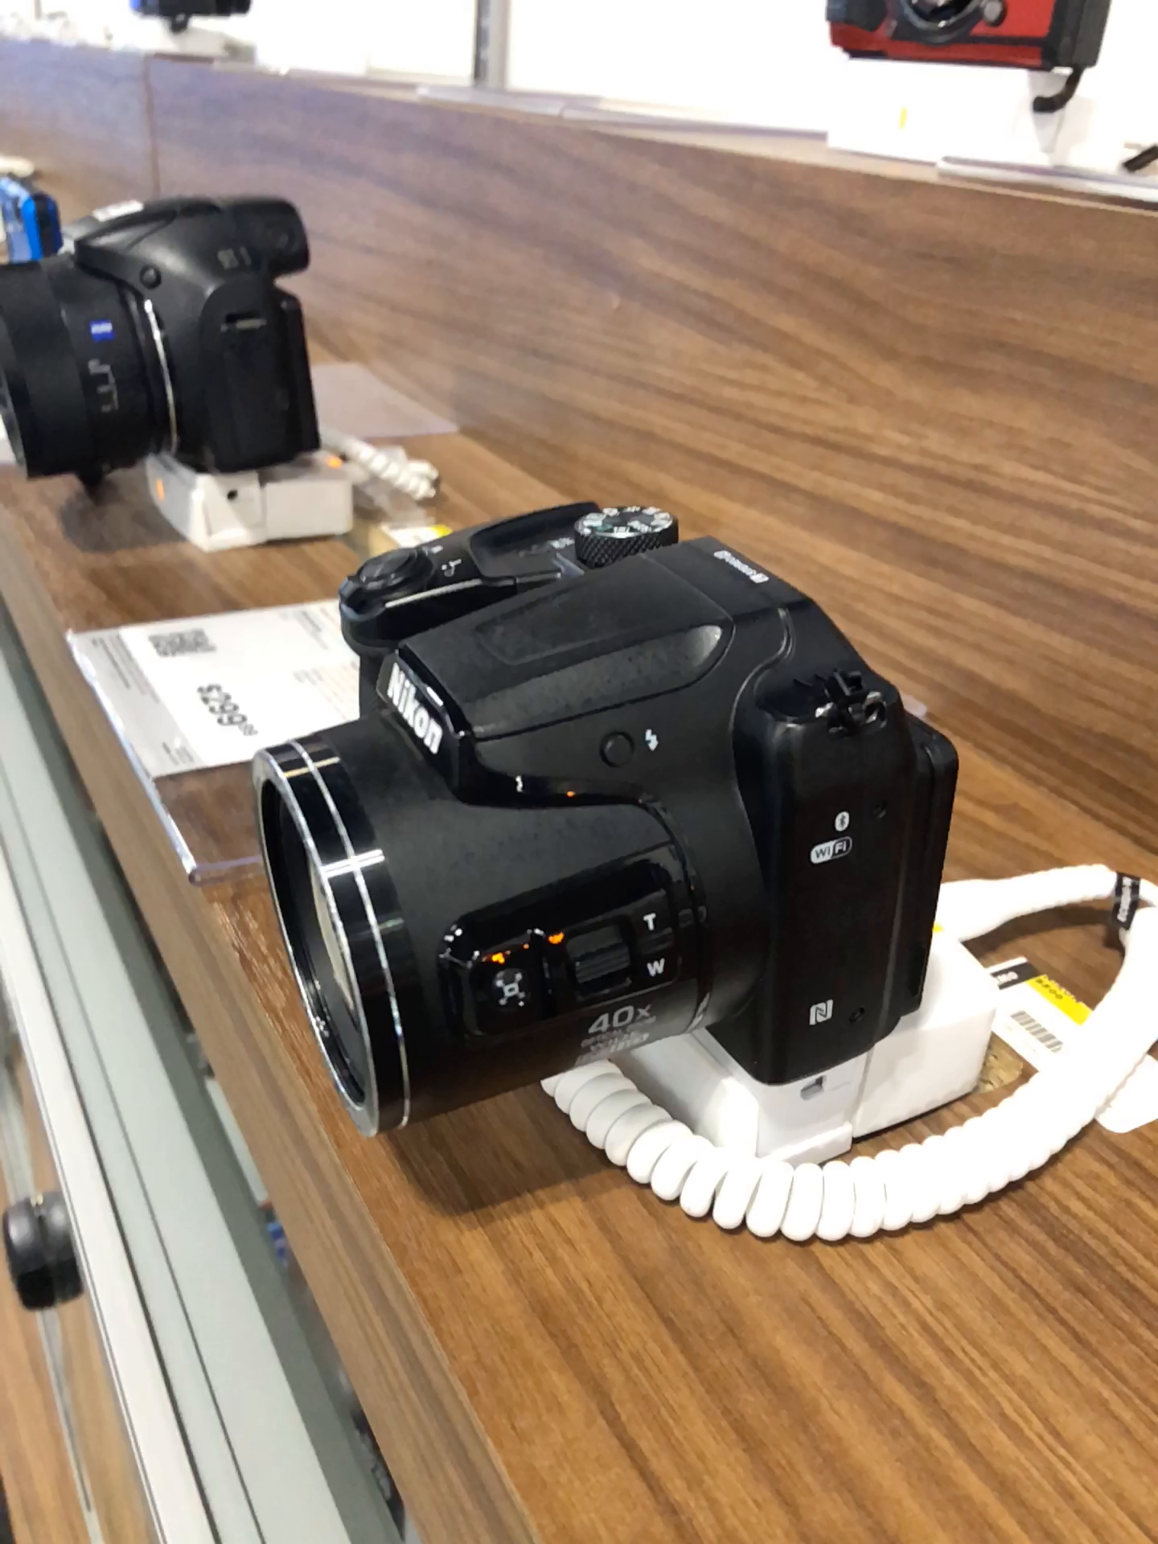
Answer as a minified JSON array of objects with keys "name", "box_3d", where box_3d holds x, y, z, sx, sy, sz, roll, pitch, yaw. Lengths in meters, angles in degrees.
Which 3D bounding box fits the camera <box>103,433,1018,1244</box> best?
[{"name":"camera","box_3d":[-0.015,-0.006,0.227,0.100,0.070,0.131,-12,32,-28]}]
